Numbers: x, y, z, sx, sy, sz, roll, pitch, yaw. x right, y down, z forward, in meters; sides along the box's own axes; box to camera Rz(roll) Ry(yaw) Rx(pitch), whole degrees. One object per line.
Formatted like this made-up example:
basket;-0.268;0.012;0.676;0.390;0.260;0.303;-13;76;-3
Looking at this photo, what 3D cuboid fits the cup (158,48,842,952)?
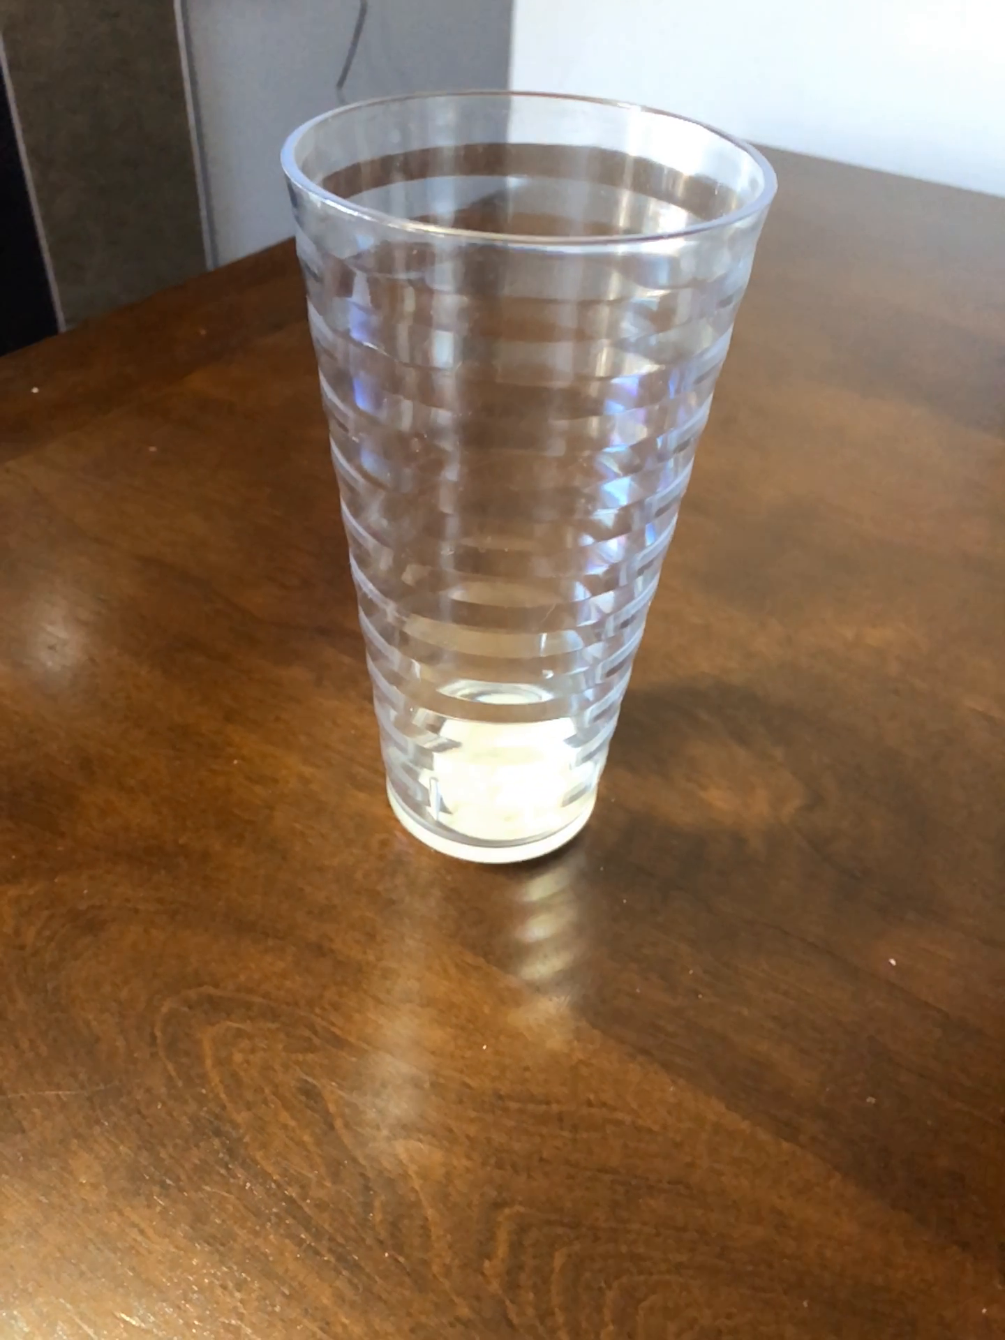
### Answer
cup;0.000;-0.041;0.285;0.100;0.179;0.100;2;40;-2
